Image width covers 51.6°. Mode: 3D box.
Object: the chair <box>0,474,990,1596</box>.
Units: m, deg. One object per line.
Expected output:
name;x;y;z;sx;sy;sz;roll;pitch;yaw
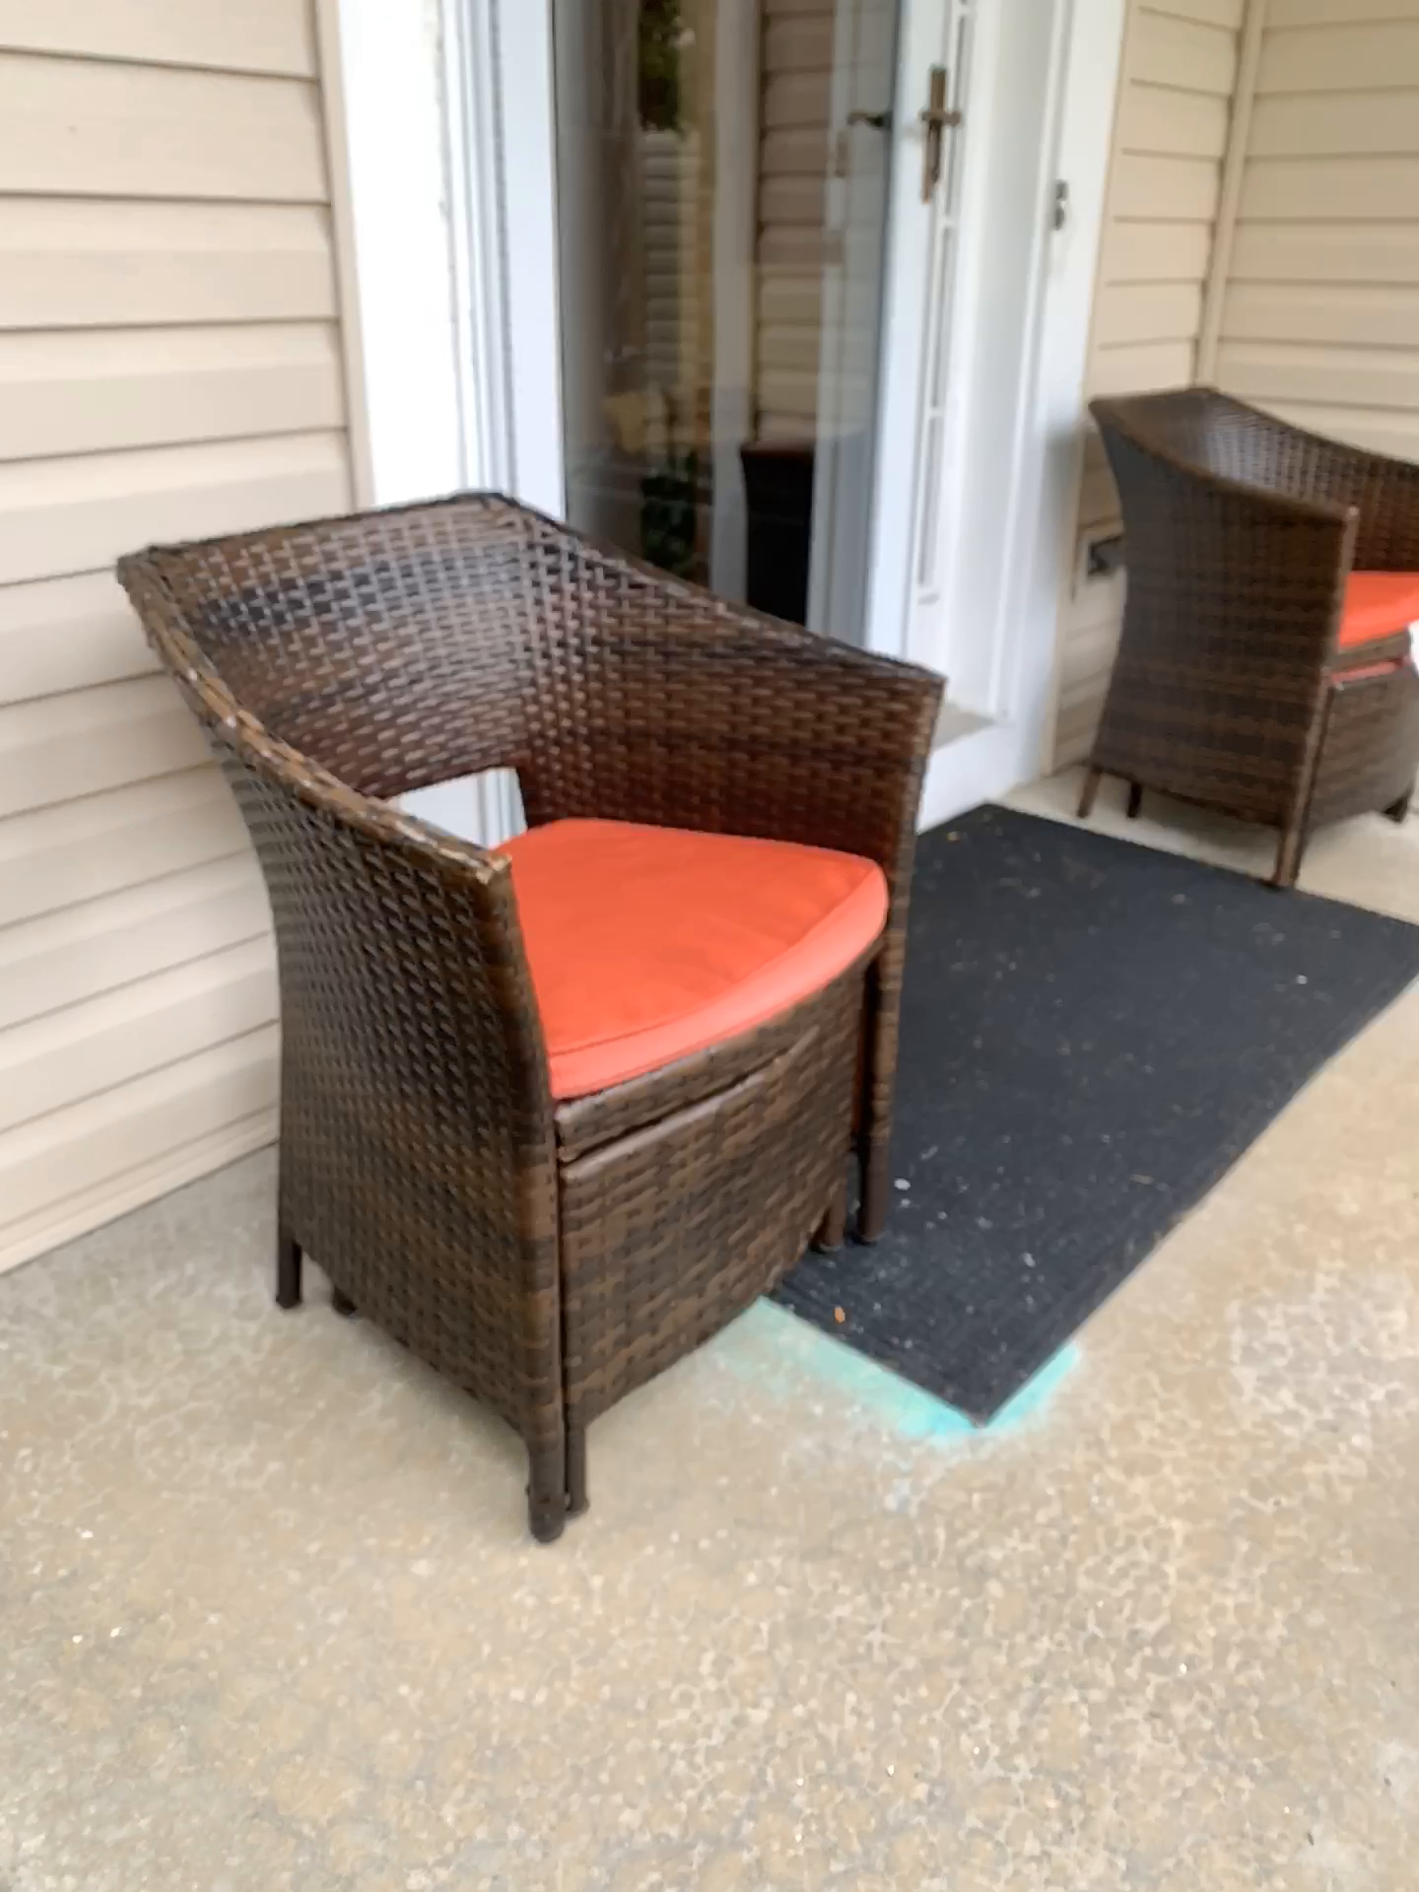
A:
chair;-0.176;-0.005;1.432;0.605;0.758;0.645;17;29;31

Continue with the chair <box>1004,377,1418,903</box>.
chair;1.012;-0.606;2.701;0.606;0.758;0.644;22;32;38
